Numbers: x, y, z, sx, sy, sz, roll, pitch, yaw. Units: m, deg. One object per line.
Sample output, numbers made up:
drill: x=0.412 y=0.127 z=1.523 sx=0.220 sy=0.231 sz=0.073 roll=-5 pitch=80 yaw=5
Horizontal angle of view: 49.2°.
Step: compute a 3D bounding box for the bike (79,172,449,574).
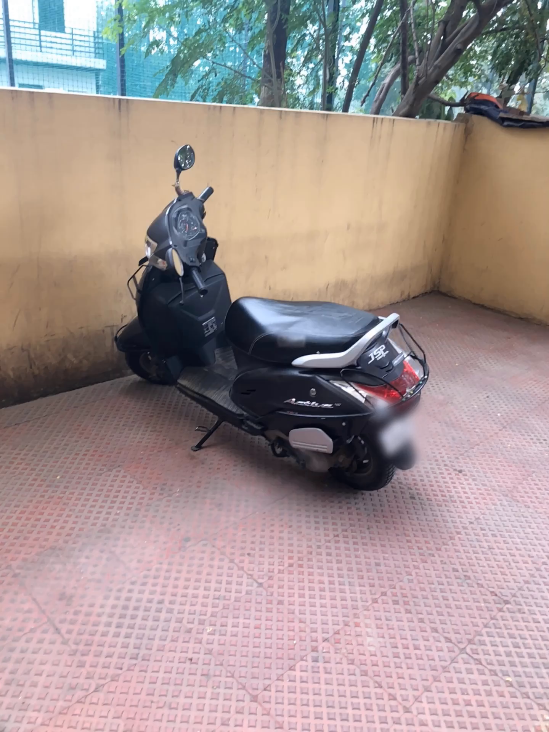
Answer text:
bike: x=-0.153 y=-0.116 z=2.558 sx=1.484 sy=1.140 sz=0.580 roll=23 pitch=29 yaw=36
